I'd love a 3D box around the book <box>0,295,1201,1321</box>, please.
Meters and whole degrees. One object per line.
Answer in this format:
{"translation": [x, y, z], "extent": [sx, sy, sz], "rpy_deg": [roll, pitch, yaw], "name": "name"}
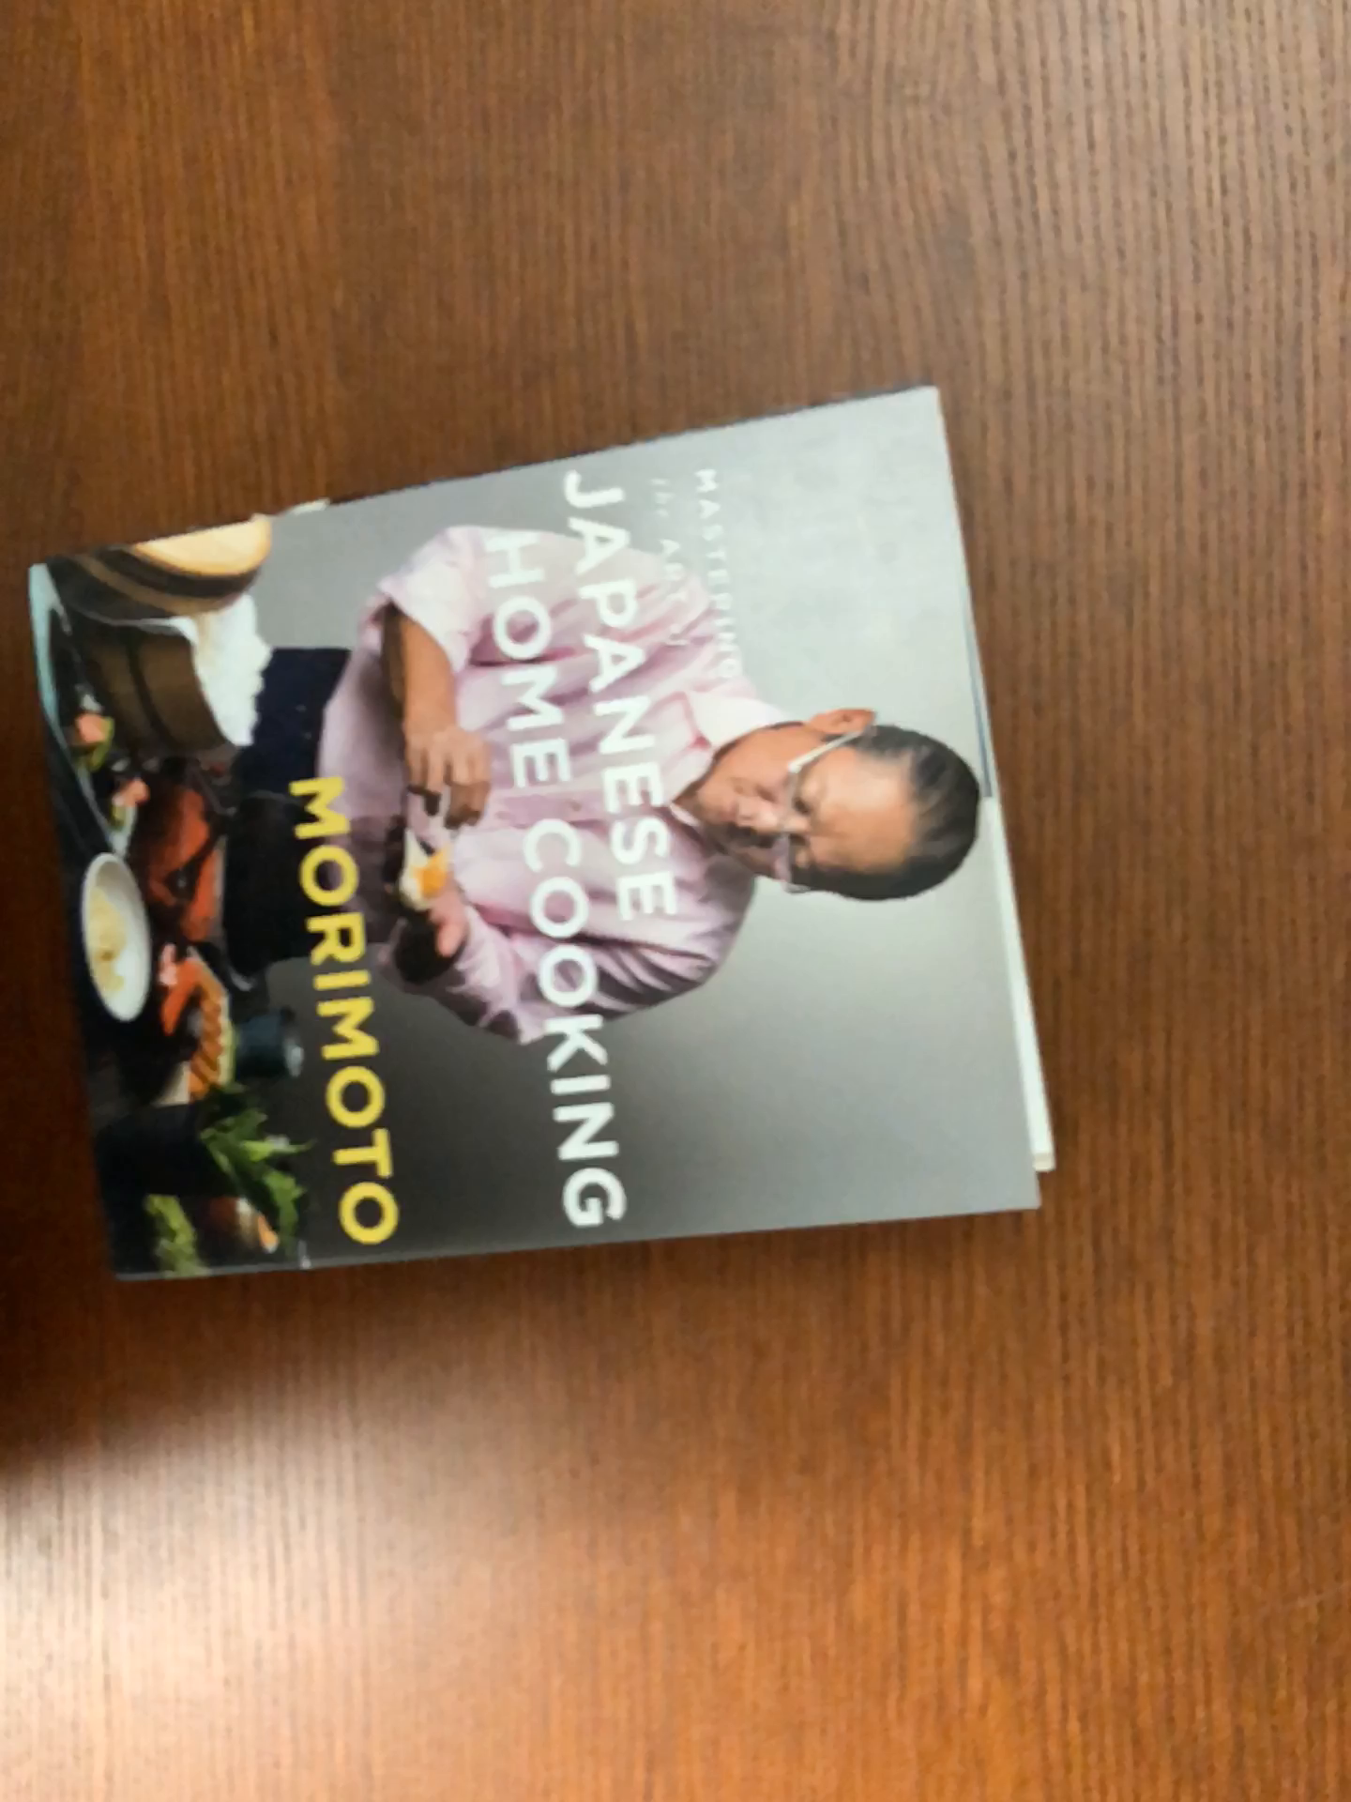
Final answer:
{"translation": [-0.035, -0.013, 0.395], "extent": [0.300, 0.030, 0.220], "rpy_deg": [-7, 89, 12], "name": "book"}
